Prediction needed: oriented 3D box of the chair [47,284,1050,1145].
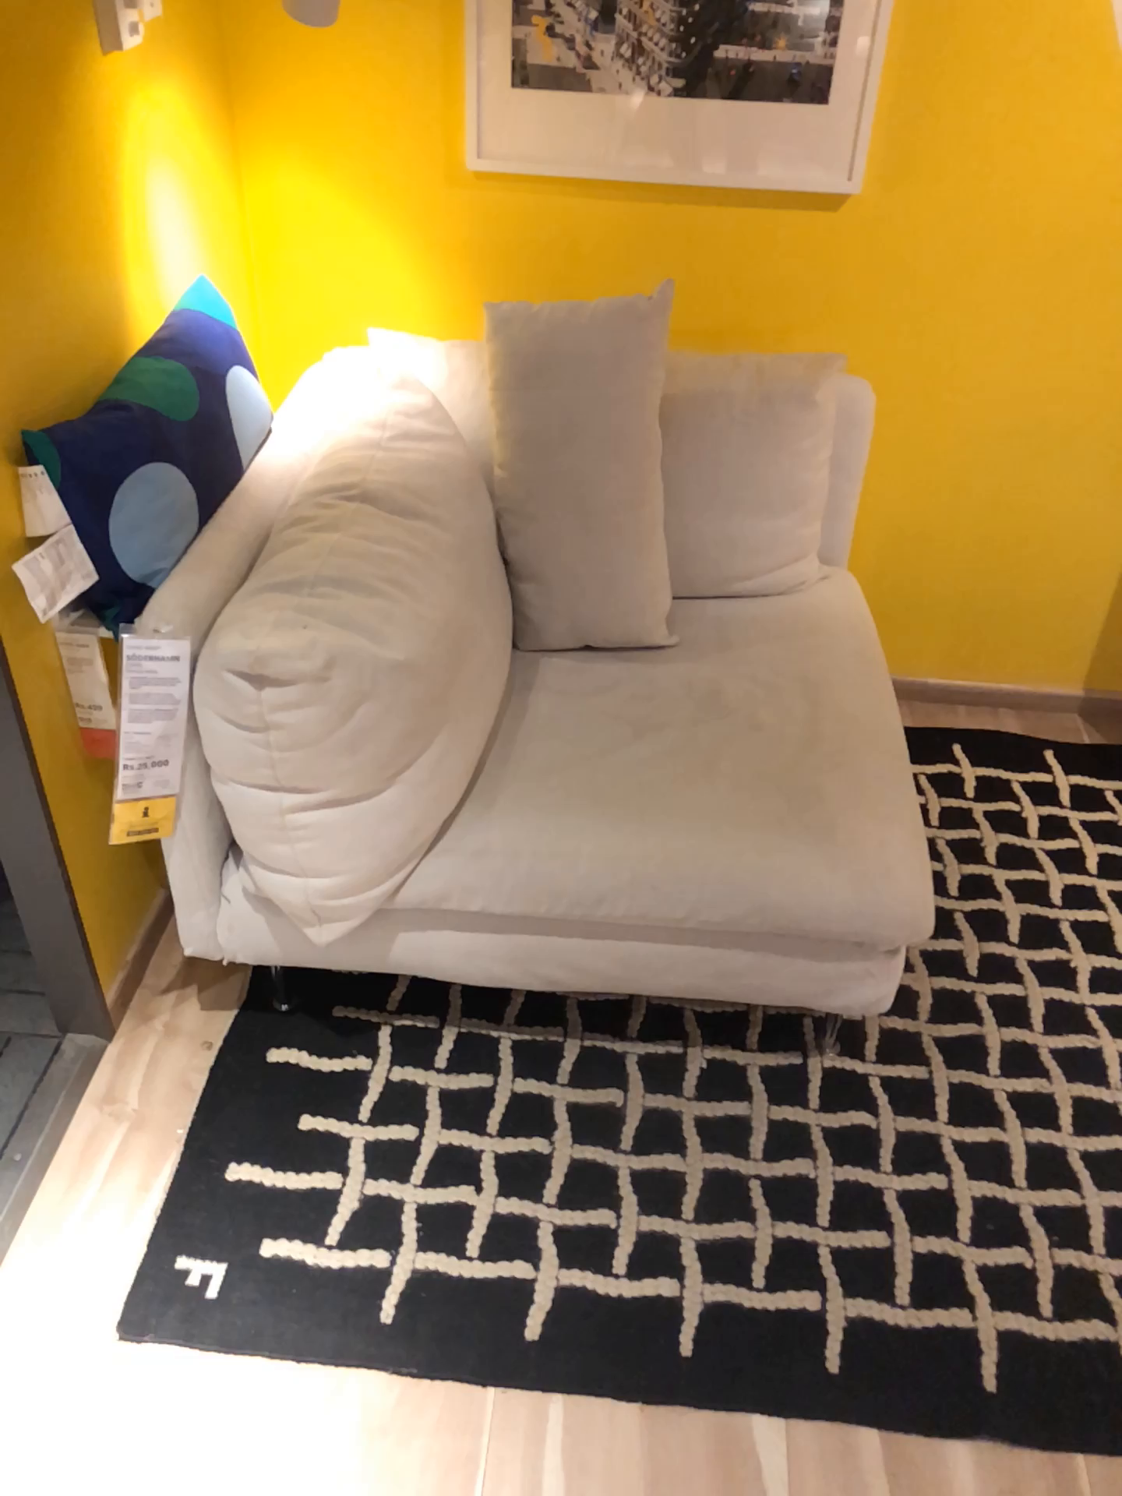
[{"bbox_3d":[0.013,-0.137,1.898,1.010,0.755,1.118,4,37,3],"label":"chair"}]
